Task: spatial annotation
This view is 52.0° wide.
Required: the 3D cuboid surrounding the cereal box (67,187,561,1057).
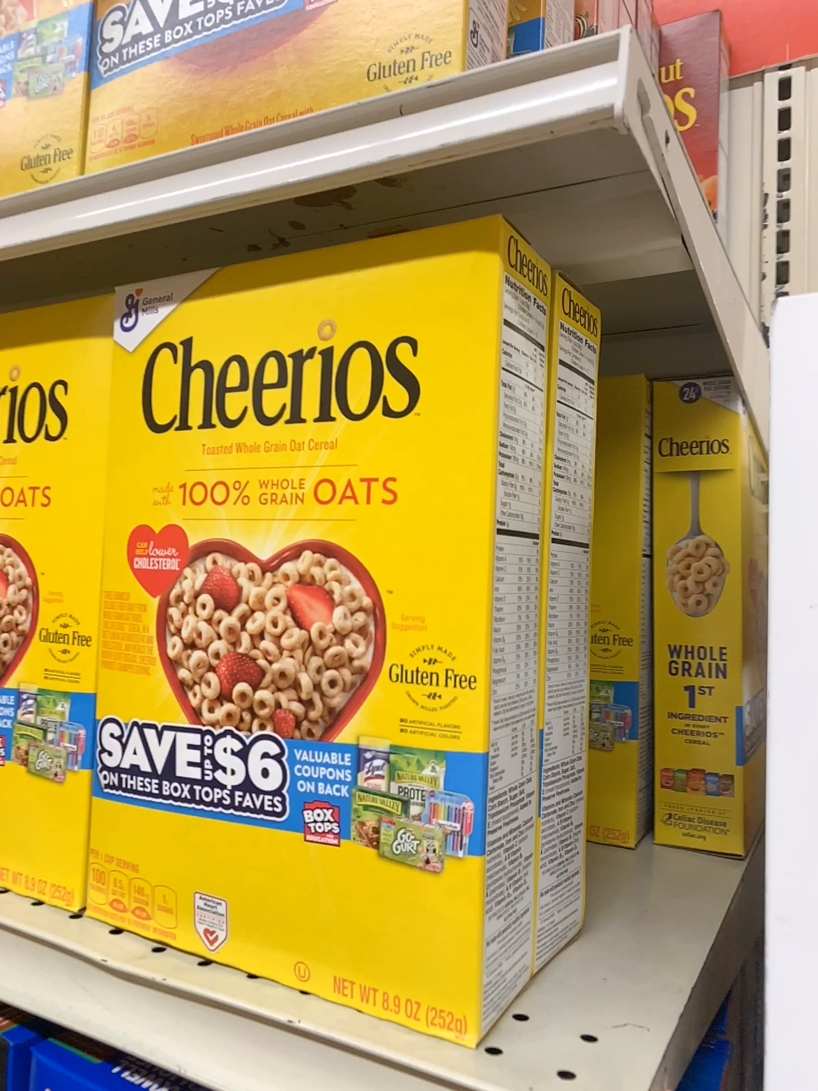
[{"bbox_3d":[-0.043,0.020,0.330,0.190,0.270,0.050,1,-3,30],"label":"cereal box"}]
